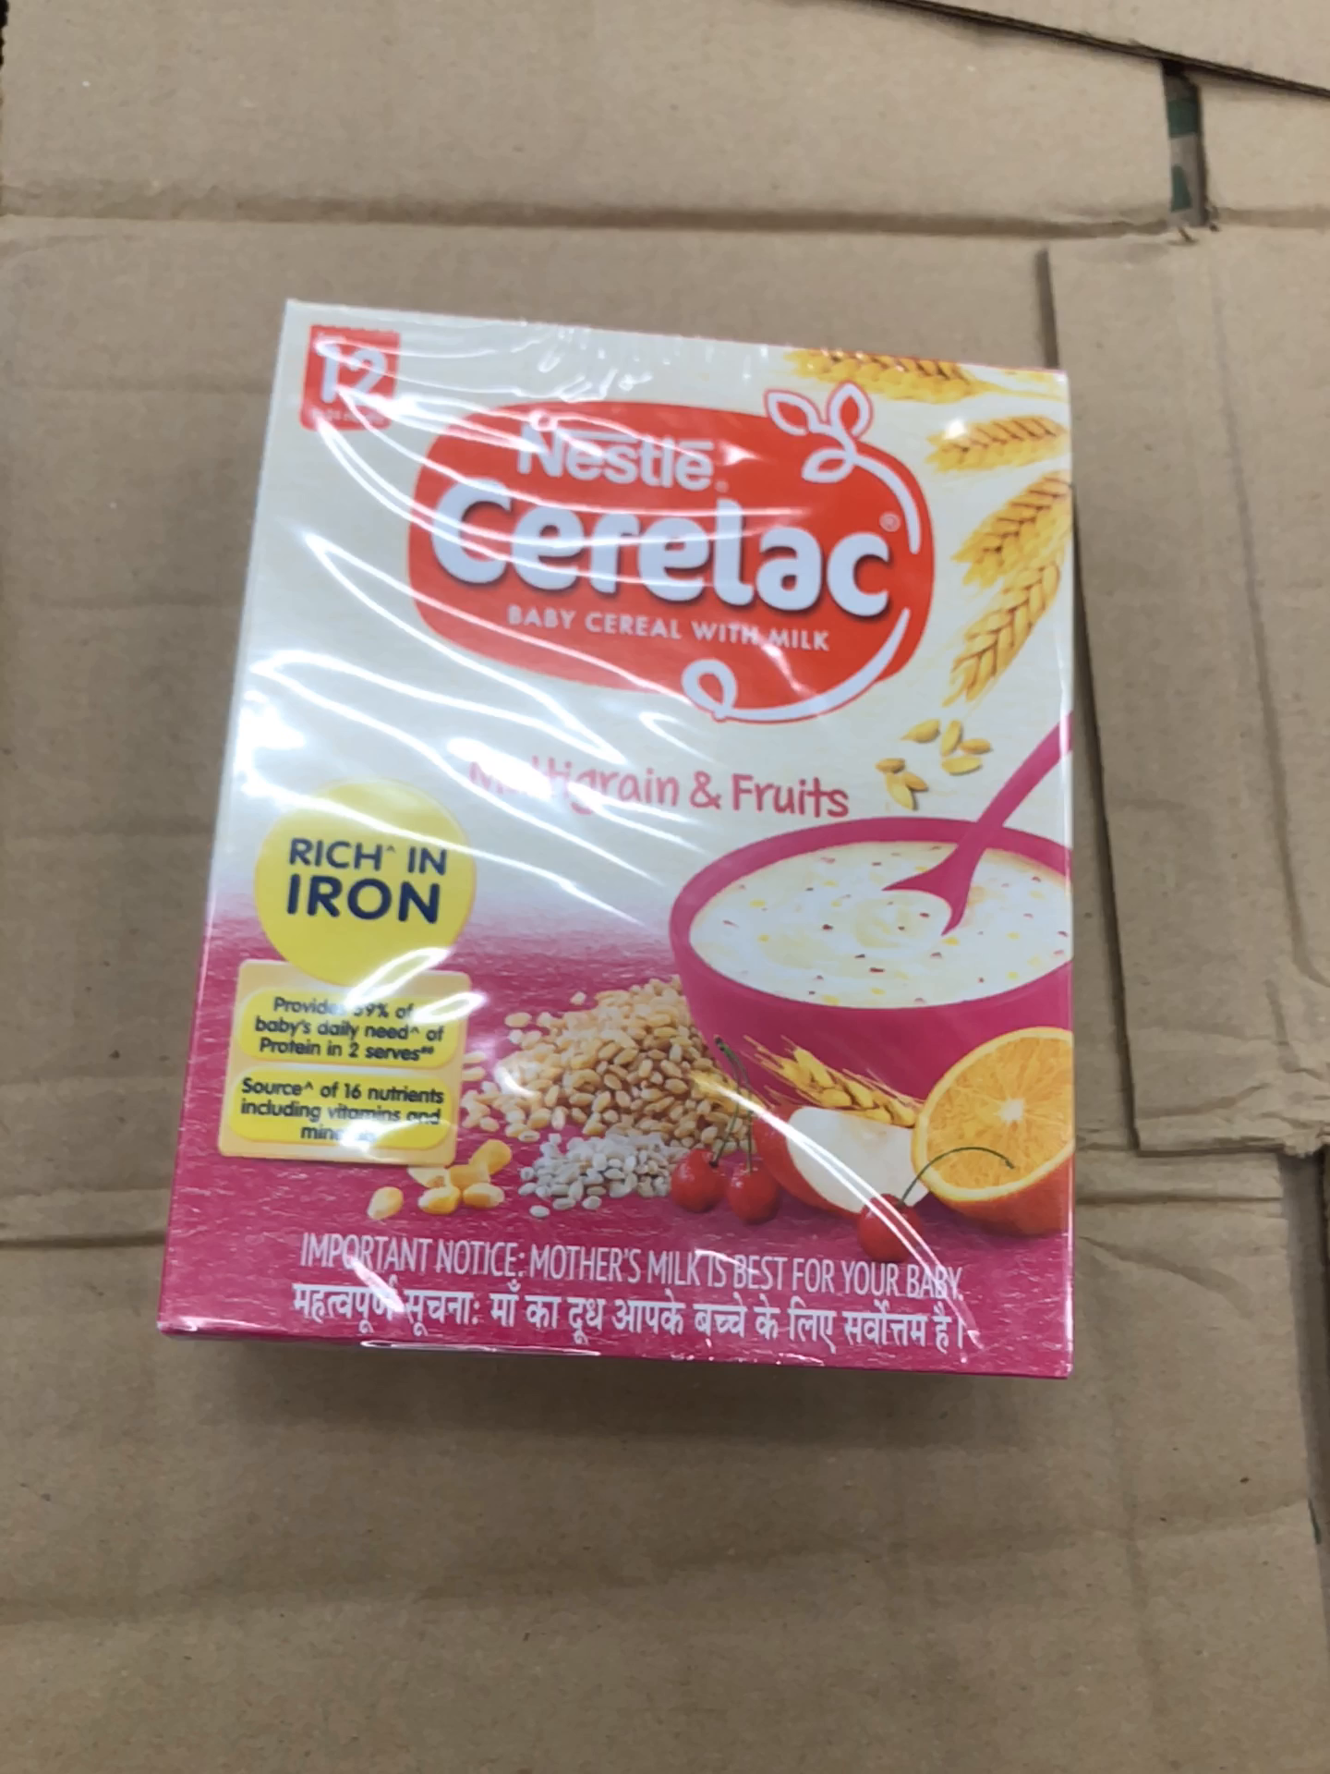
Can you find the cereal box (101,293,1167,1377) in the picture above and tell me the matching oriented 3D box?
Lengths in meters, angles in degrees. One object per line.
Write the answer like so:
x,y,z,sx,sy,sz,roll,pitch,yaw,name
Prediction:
-0.001,-0.008,0.264,0.160,0.050,0.170,3,78,-3,cereal box
